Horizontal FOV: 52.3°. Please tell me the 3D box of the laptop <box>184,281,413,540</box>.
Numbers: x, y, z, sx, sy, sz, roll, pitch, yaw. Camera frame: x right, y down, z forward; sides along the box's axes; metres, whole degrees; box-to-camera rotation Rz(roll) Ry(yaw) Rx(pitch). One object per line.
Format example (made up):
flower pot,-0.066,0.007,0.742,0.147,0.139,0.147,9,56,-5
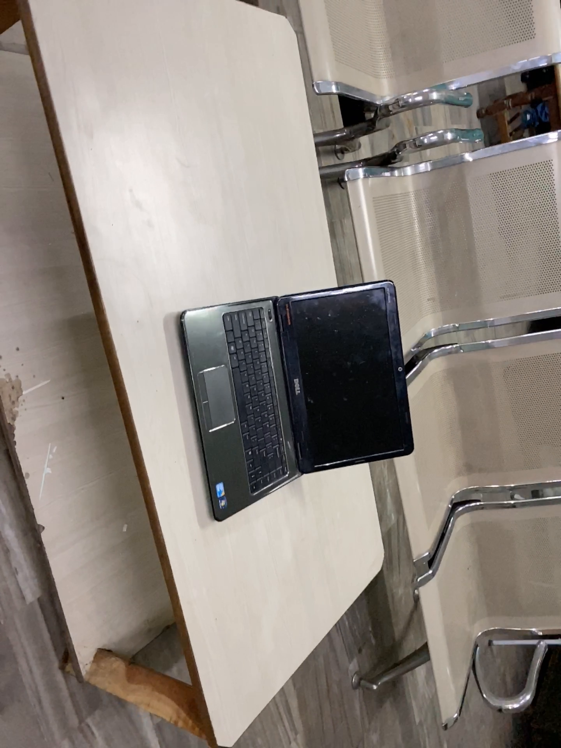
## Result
laptop,0.056,0.034,0.969,0.380,0.152,0.329,-19,105,-50
